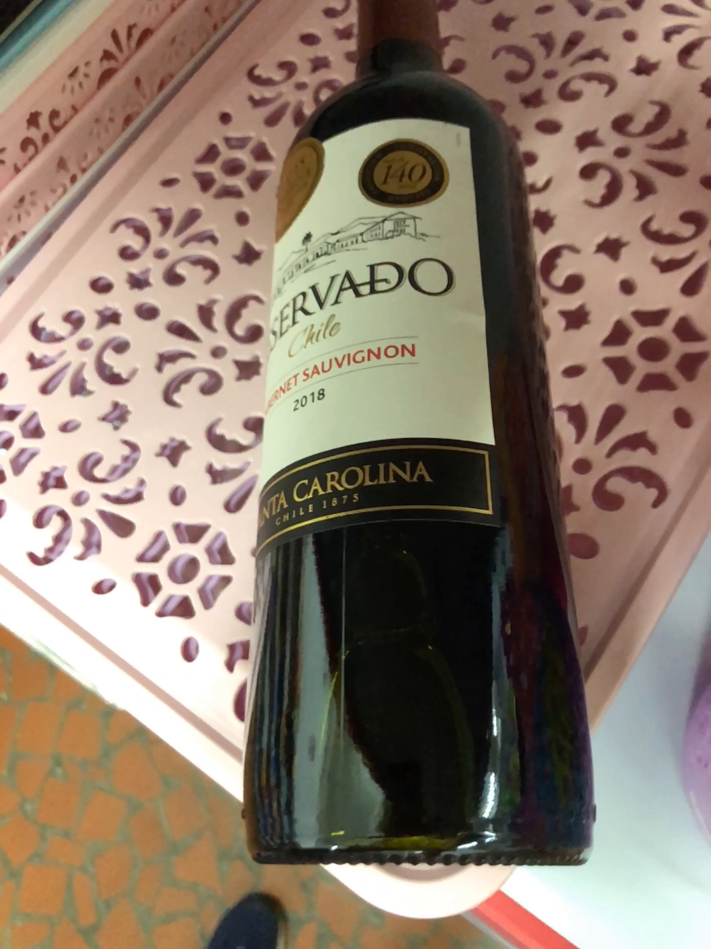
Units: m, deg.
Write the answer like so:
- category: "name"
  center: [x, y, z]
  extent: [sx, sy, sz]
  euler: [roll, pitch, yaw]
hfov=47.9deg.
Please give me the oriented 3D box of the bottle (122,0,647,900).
- category: "bottle"
  center: [0.012, -0.069, 0.225]
  extent: [0.080, 0.060, 0.331]
  euler: [-4, 61, 11]
